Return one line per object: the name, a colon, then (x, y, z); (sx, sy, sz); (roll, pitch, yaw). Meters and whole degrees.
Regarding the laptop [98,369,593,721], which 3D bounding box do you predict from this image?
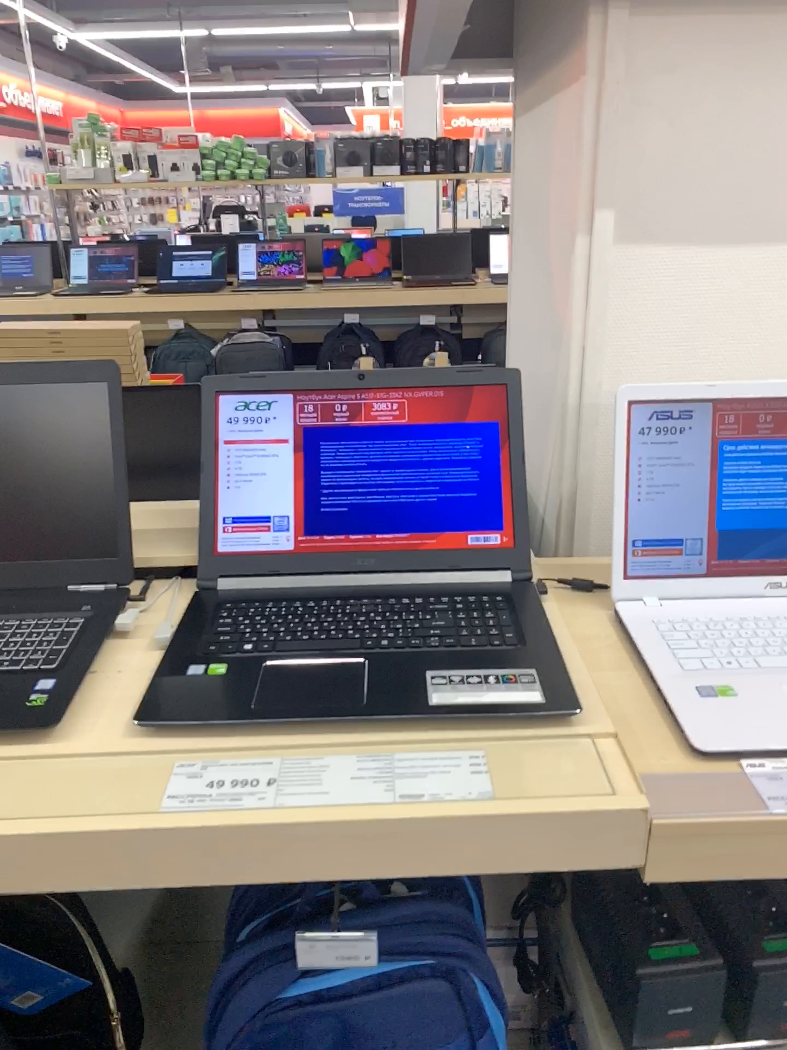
laptop: (-0.038, -0.011, 0.912); (0.420, 0.235, 0.422); (-1, 23, 0)
